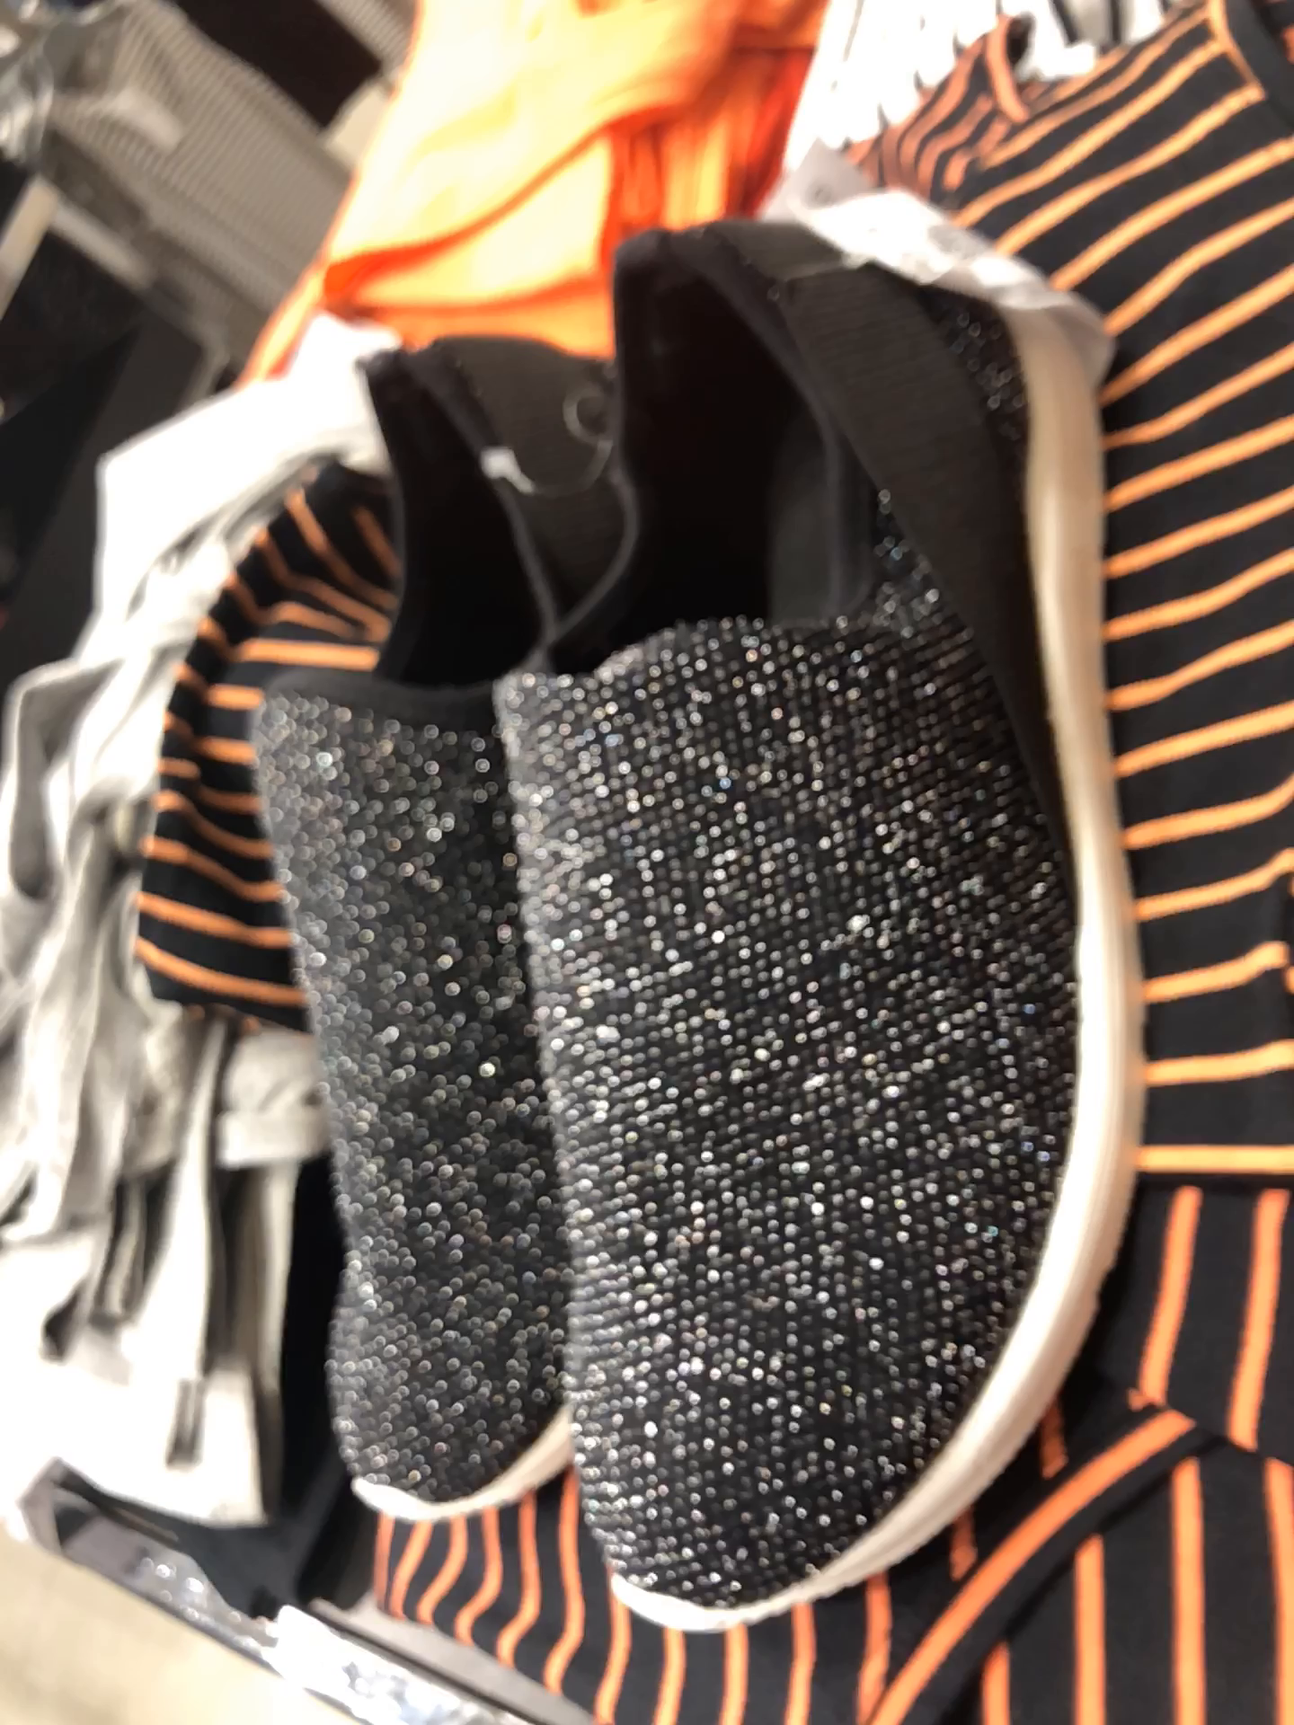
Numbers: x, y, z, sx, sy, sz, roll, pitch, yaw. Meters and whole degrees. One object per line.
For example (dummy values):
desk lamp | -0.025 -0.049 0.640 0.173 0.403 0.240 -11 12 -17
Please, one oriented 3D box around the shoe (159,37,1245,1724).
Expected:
shoe | 0.027 0.002 0.261 0.100 0.109 0.240 -10 58 43

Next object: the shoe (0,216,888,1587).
shoe | -0.042 0.007 0.318 0.100 0.109 0.240 -7 59 44
